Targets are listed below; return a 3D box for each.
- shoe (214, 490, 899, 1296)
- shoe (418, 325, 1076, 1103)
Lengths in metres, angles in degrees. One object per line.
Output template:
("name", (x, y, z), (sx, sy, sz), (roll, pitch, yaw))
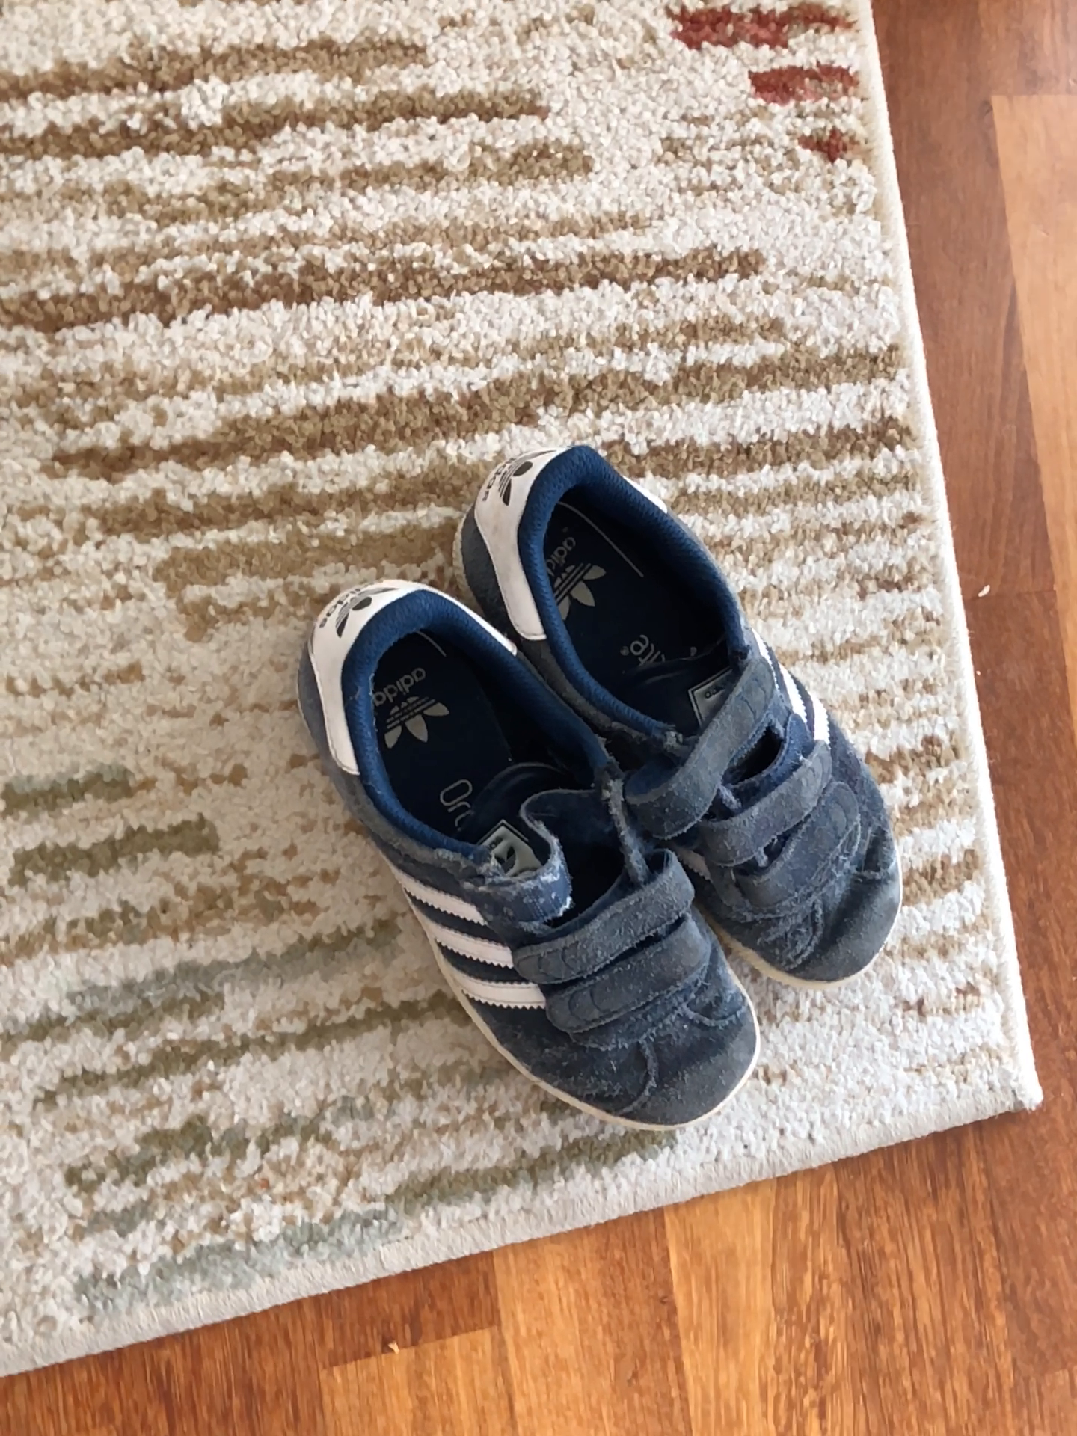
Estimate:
("shoe", (0.005, 0.050, 0.355), (0.084, 0.053, 0.216), (-36, 96, -11))
("shoe", (0.066, 0.001, 0.370), (0.086, 0.052, 0.219), (-38, 97, -11))
